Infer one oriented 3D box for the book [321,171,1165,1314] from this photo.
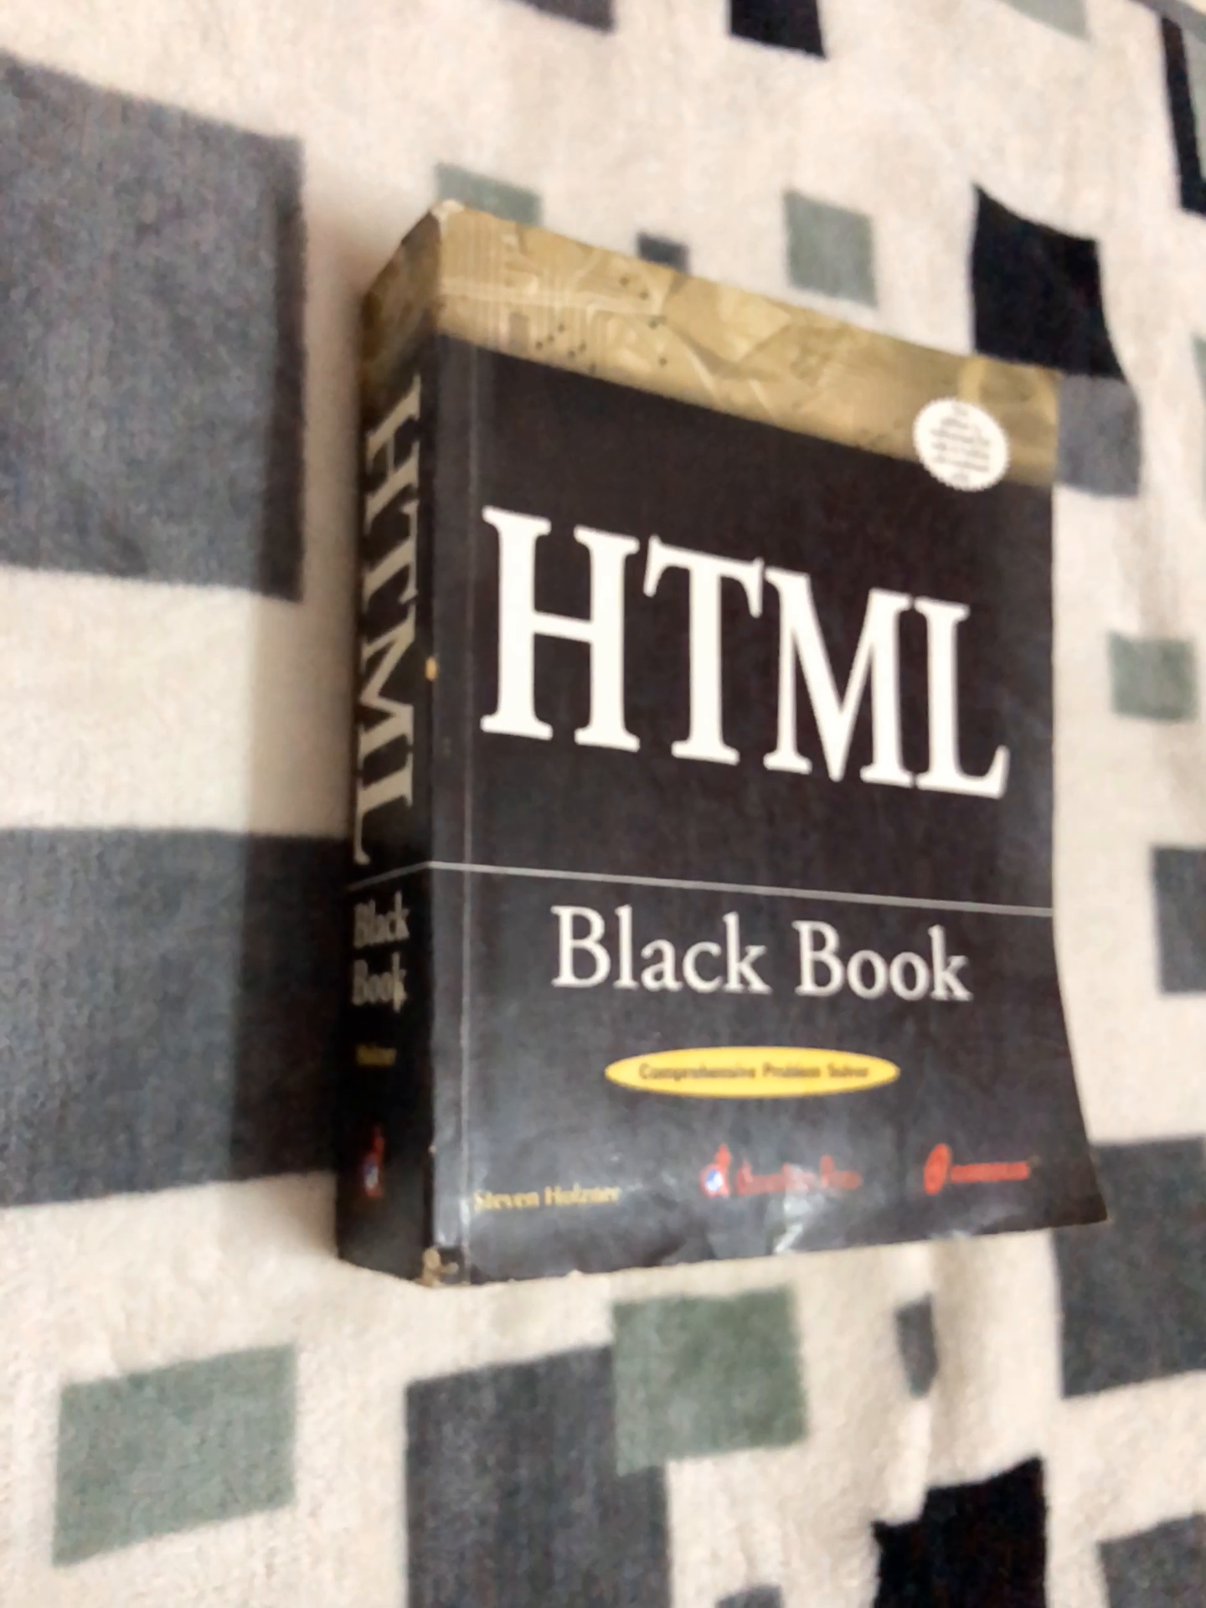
[{"bbox_3d":[0.035,-0.008,0.341,0.191,0.070,0.230,5,77,-28],"label":"book"}]
